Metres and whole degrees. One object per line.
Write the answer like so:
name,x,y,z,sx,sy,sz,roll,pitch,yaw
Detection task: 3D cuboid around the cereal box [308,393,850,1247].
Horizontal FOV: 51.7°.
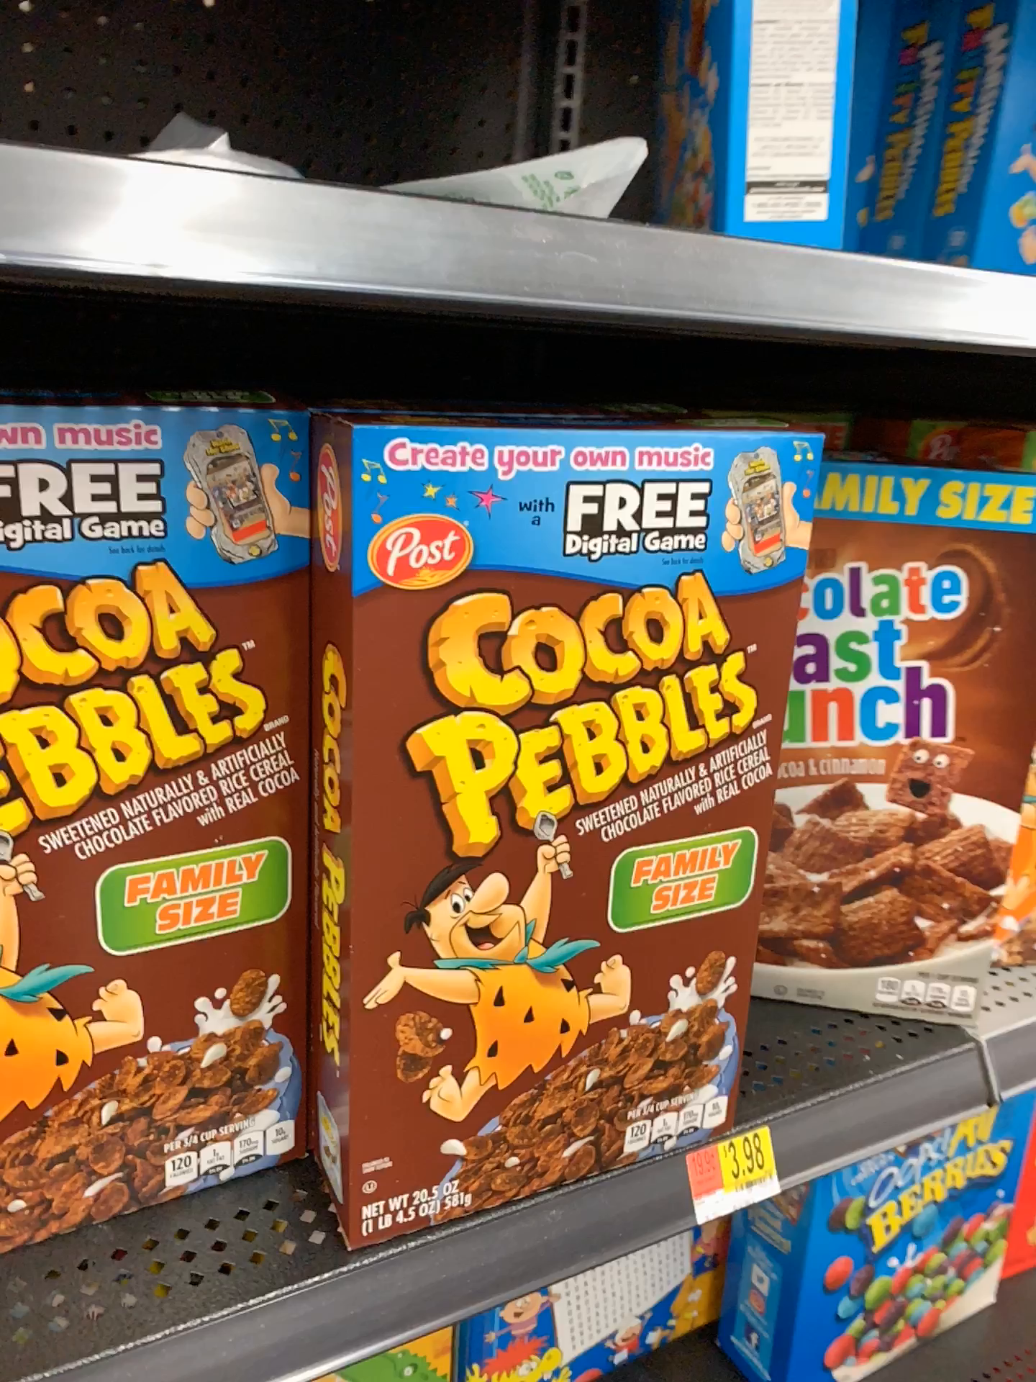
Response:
cereal box,0.018,0.050,0.452,0.200,0.329,0.060,-5,19,-26
